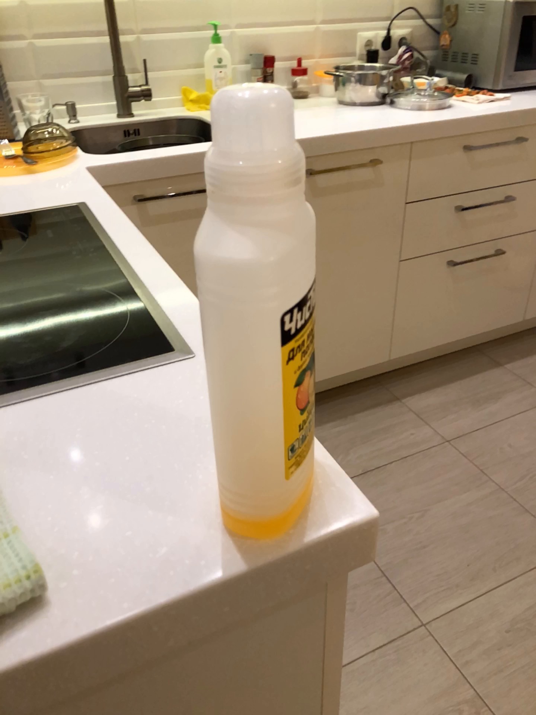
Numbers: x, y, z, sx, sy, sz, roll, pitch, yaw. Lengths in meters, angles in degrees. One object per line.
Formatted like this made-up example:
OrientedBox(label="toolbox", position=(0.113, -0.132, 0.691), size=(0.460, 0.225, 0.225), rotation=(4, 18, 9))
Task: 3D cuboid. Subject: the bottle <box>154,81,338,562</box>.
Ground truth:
OrientedBox(label="bottle", position=(-0.002, -0.014, 0.351), size=(0.061, 0.264, 0.102), rotation=(7, 32, 14))
